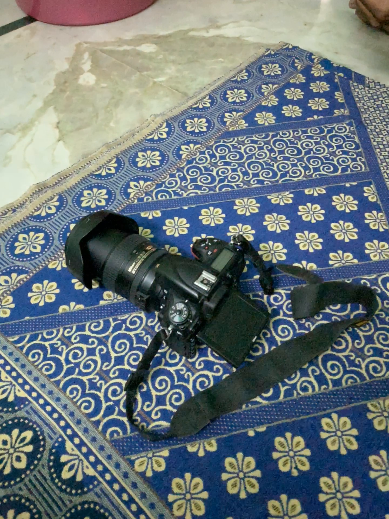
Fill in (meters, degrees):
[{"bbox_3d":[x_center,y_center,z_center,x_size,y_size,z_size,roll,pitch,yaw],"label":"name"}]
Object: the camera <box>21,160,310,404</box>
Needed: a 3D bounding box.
[{"bbox_3d":[-0.041,0.014,0.526,0.320,0.110,0.160,29,60,21],"label":"camera"}]
